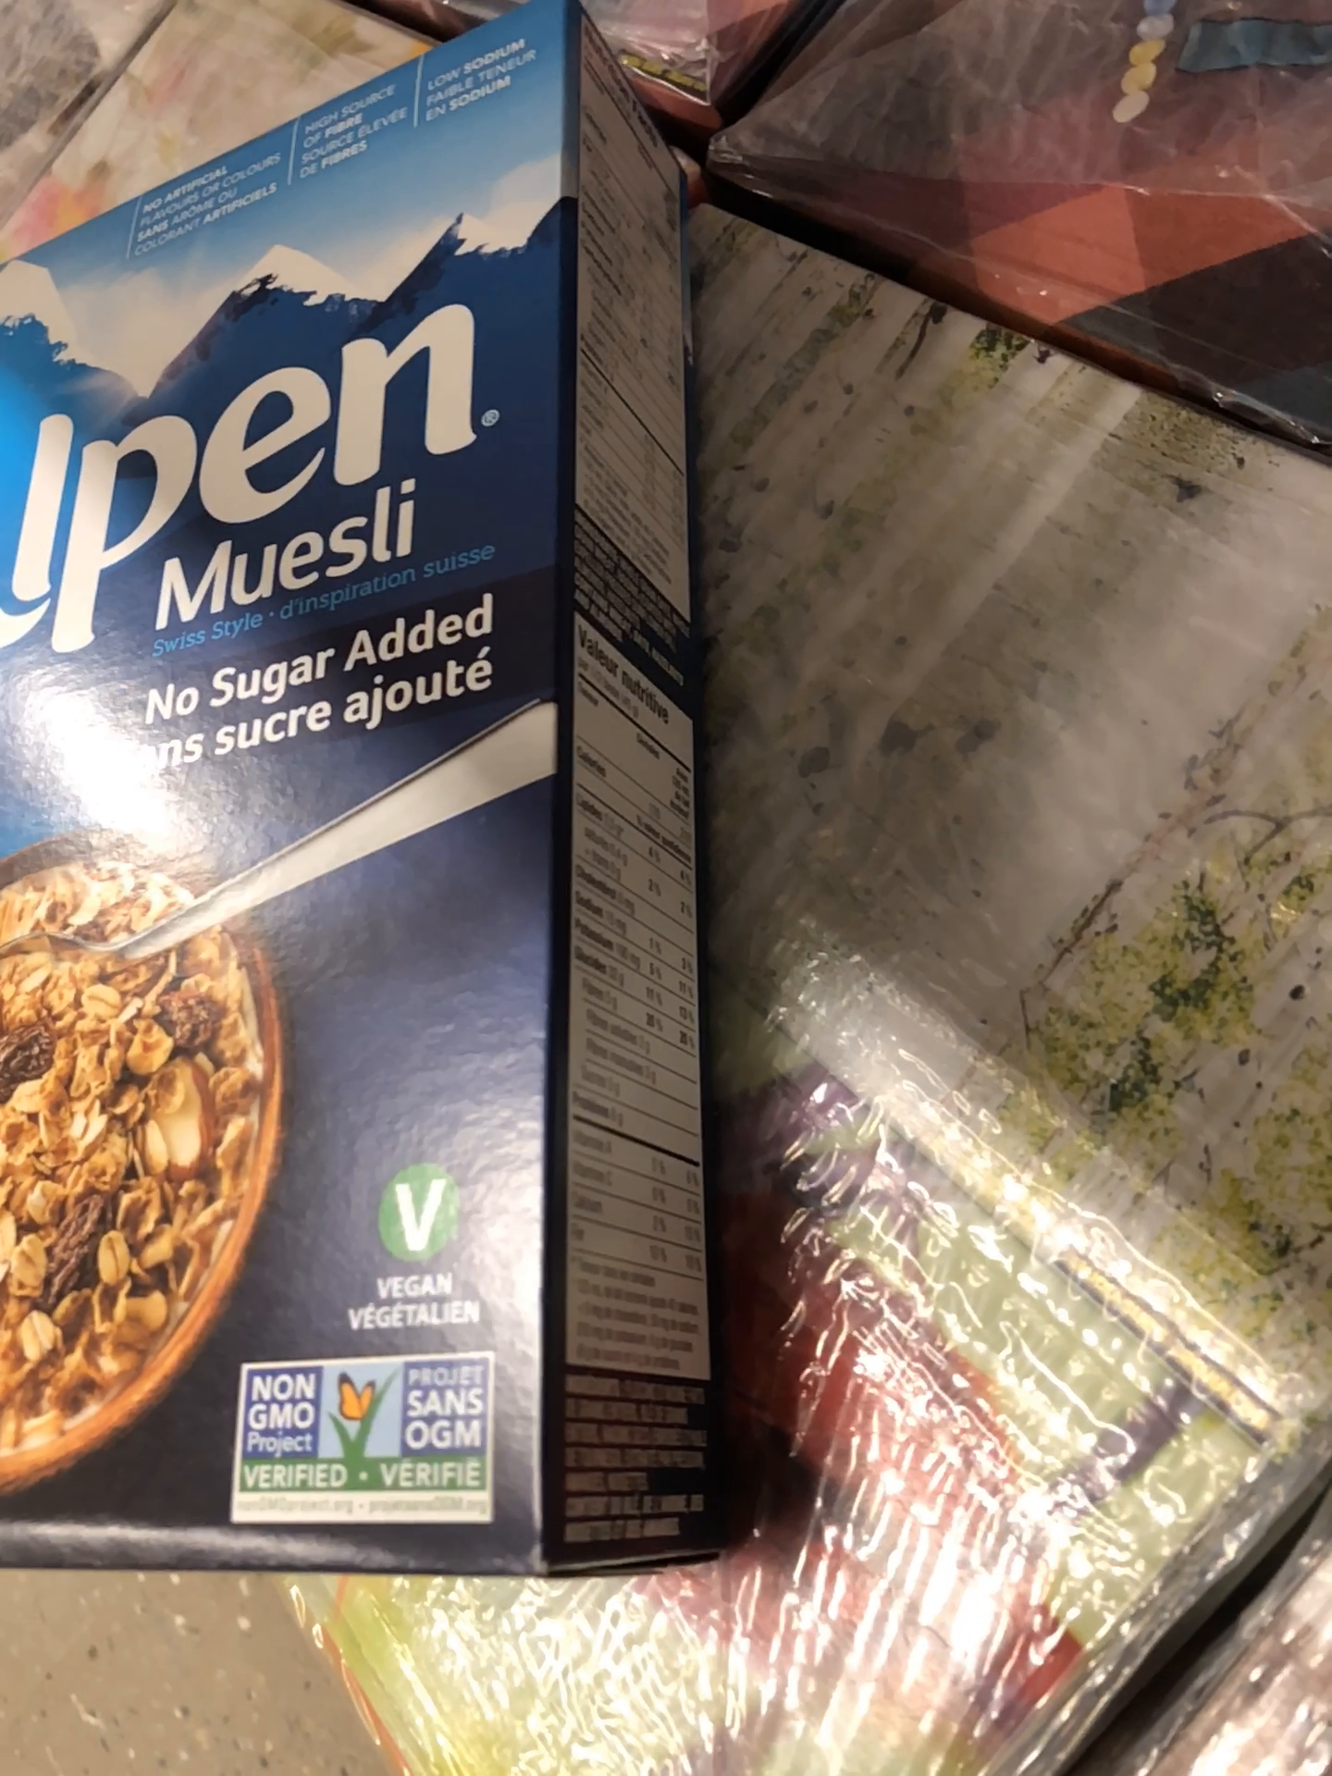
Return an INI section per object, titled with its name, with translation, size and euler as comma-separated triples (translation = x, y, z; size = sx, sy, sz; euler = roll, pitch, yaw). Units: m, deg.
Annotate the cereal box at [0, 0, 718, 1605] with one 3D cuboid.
[cereal box]
translation = -0.092, -0.028, 0.260
size = 0.190, 0.050, 0.270
euler = -12, 66, 24
